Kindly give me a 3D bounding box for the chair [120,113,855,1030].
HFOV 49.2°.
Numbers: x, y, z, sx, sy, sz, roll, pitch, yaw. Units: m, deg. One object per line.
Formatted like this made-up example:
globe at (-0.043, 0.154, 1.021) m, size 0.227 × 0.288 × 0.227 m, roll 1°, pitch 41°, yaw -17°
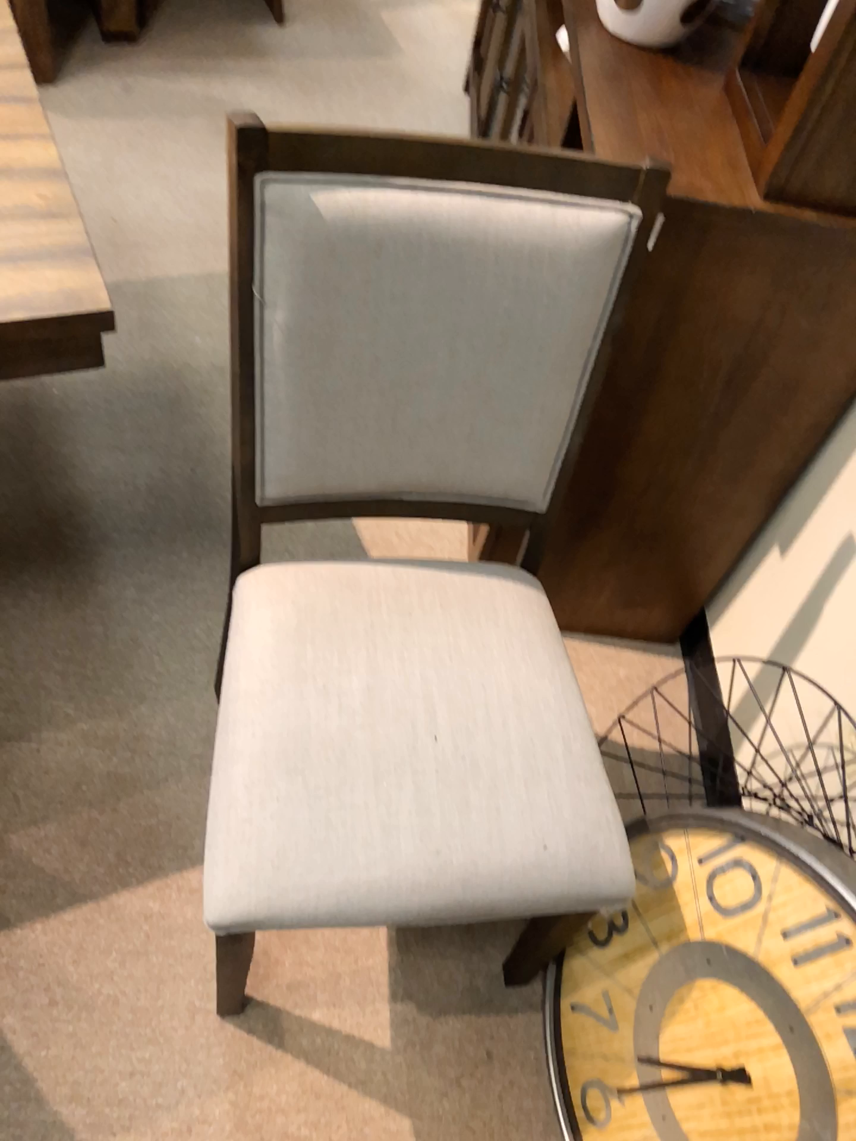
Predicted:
chair at (-0.033, 0.109, 1.011) m, size 0.460 × 0.925 × 0.493 m, roll 0°, pitch 53°, yaw -12°
